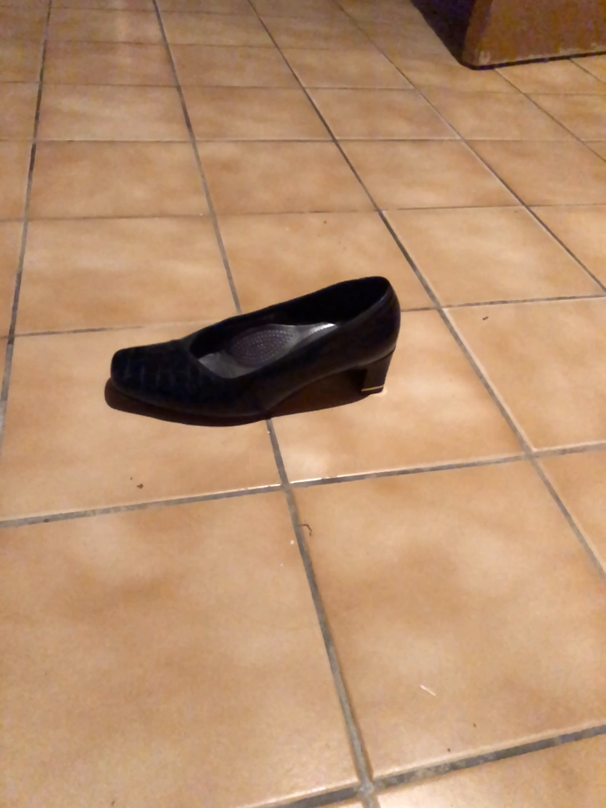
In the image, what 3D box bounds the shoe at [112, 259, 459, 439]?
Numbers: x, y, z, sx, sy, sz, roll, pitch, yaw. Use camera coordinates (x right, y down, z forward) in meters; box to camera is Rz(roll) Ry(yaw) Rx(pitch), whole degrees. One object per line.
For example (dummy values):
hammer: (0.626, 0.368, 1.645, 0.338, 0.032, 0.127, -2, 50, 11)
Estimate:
shoe: (-0.019, -0.049, 0.537, 0.250, 0.089, 0.100, -4, 44, -12)
